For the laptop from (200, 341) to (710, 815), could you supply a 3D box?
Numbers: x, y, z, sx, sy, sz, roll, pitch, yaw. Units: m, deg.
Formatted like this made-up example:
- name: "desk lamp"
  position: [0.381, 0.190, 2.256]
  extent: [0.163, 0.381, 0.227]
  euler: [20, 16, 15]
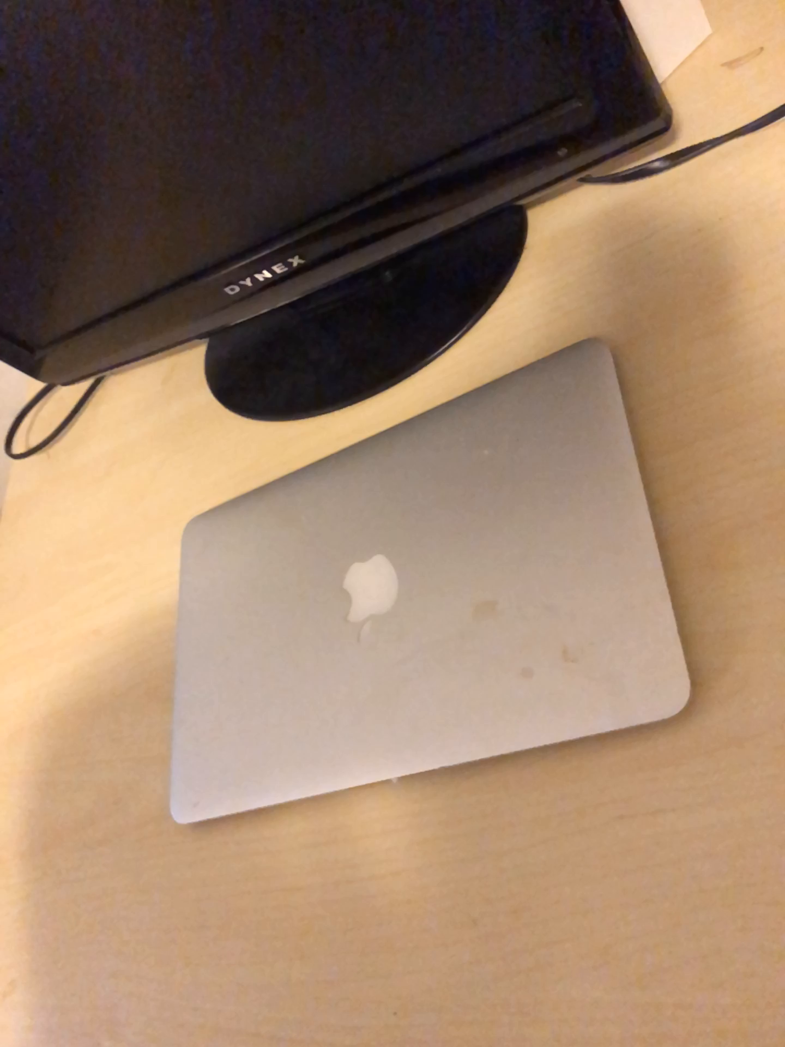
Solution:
- name: "laptop"
  position: [0.004, 0.036, 0.451]
  extent: [0.279, 0.005, 0.181]
  euler: [-21, 59, 28]
